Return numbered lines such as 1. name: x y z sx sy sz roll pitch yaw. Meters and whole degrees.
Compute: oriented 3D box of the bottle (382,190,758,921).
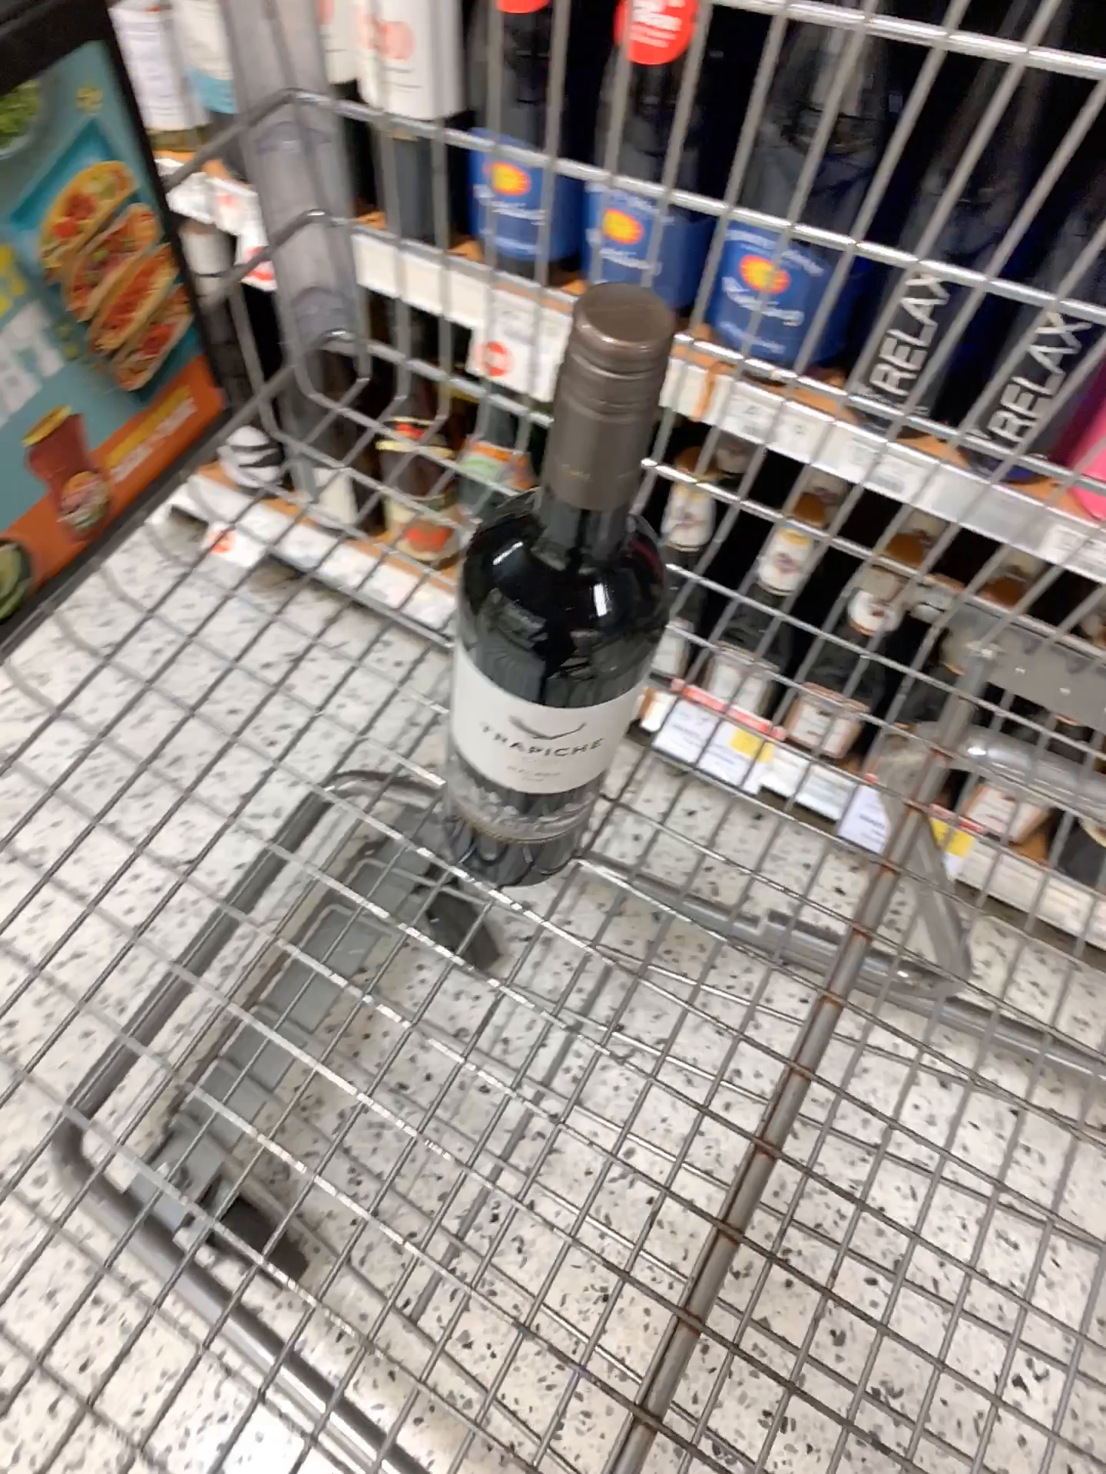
1. bottle: -0.006 -0.035 0.429 0.090 0.298 0.091 3 59 -5
